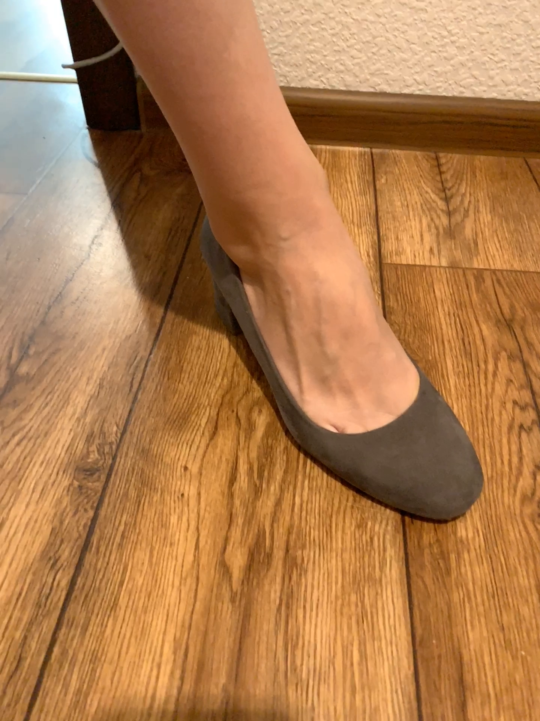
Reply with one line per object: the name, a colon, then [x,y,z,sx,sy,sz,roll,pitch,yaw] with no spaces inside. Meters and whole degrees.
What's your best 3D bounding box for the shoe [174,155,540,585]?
shoe: [0.042,-0.009,0.305,0.083,0.109,0.211,-27,51,-22]
